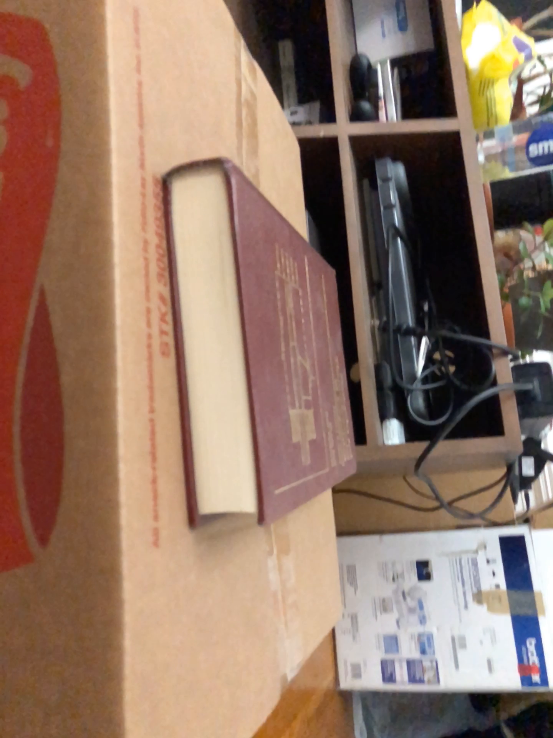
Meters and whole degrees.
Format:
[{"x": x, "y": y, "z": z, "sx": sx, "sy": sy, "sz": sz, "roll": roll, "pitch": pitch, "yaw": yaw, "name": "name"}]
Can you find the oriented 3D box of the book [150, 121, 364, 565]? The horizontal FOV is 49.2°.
[{"x": 0.005, "y": -0.003, "z": 0.377, "sx": 0.241, "sy": 0.040, "sz": 0.190, "roll": 17, "pitch": 65, "yaw": -72, "name": "book"}]
